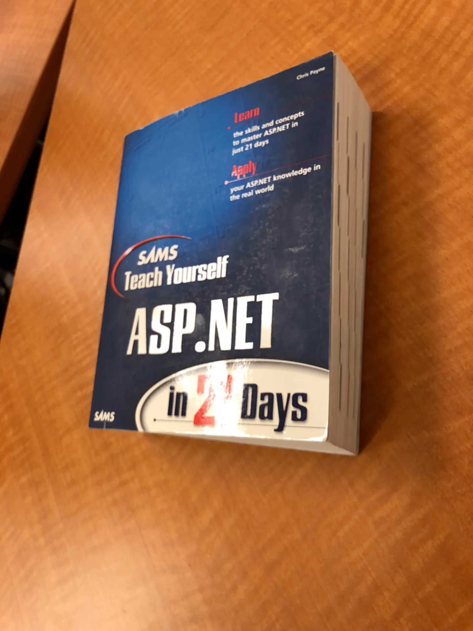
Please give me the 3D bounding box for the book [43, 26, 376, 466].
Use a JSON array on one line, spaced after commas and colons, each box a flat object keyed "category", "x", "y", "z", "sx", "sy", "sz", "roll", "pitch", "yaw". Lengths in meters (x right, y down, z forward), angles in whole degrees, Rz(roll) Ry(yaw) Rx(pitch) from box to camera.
[{"category": "book", "x": -0.020, "y": -0.036, "z": 0.358, "sx": 0.201, "sy": 0.070, "sz": 0.240, "roll": -2, "pitch": 77, "yaw": 34}]
